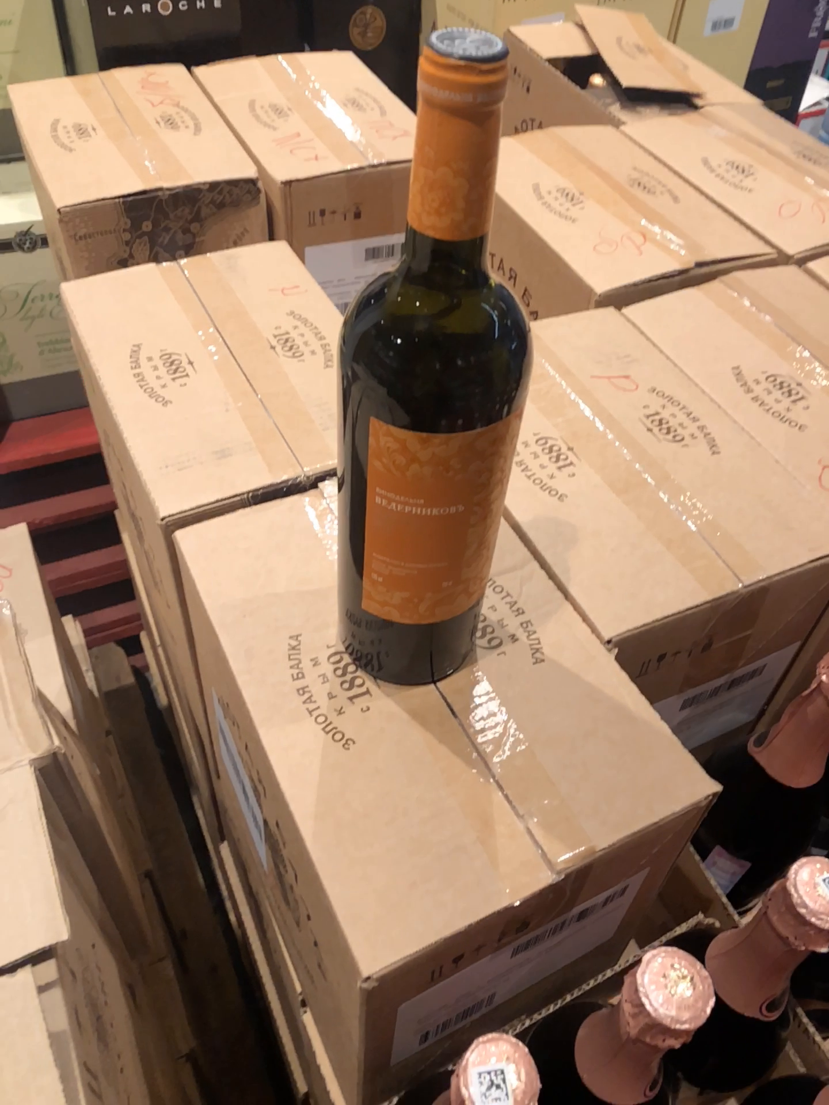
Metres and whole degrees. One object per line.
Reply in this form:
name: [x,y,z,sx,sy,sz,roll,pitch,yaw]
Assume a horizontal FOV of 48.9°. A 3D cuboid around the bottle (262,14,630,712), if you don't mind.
bottle: [0.001,-0.057,0.388,0.090,0.278,0.090,1,48,-2]
